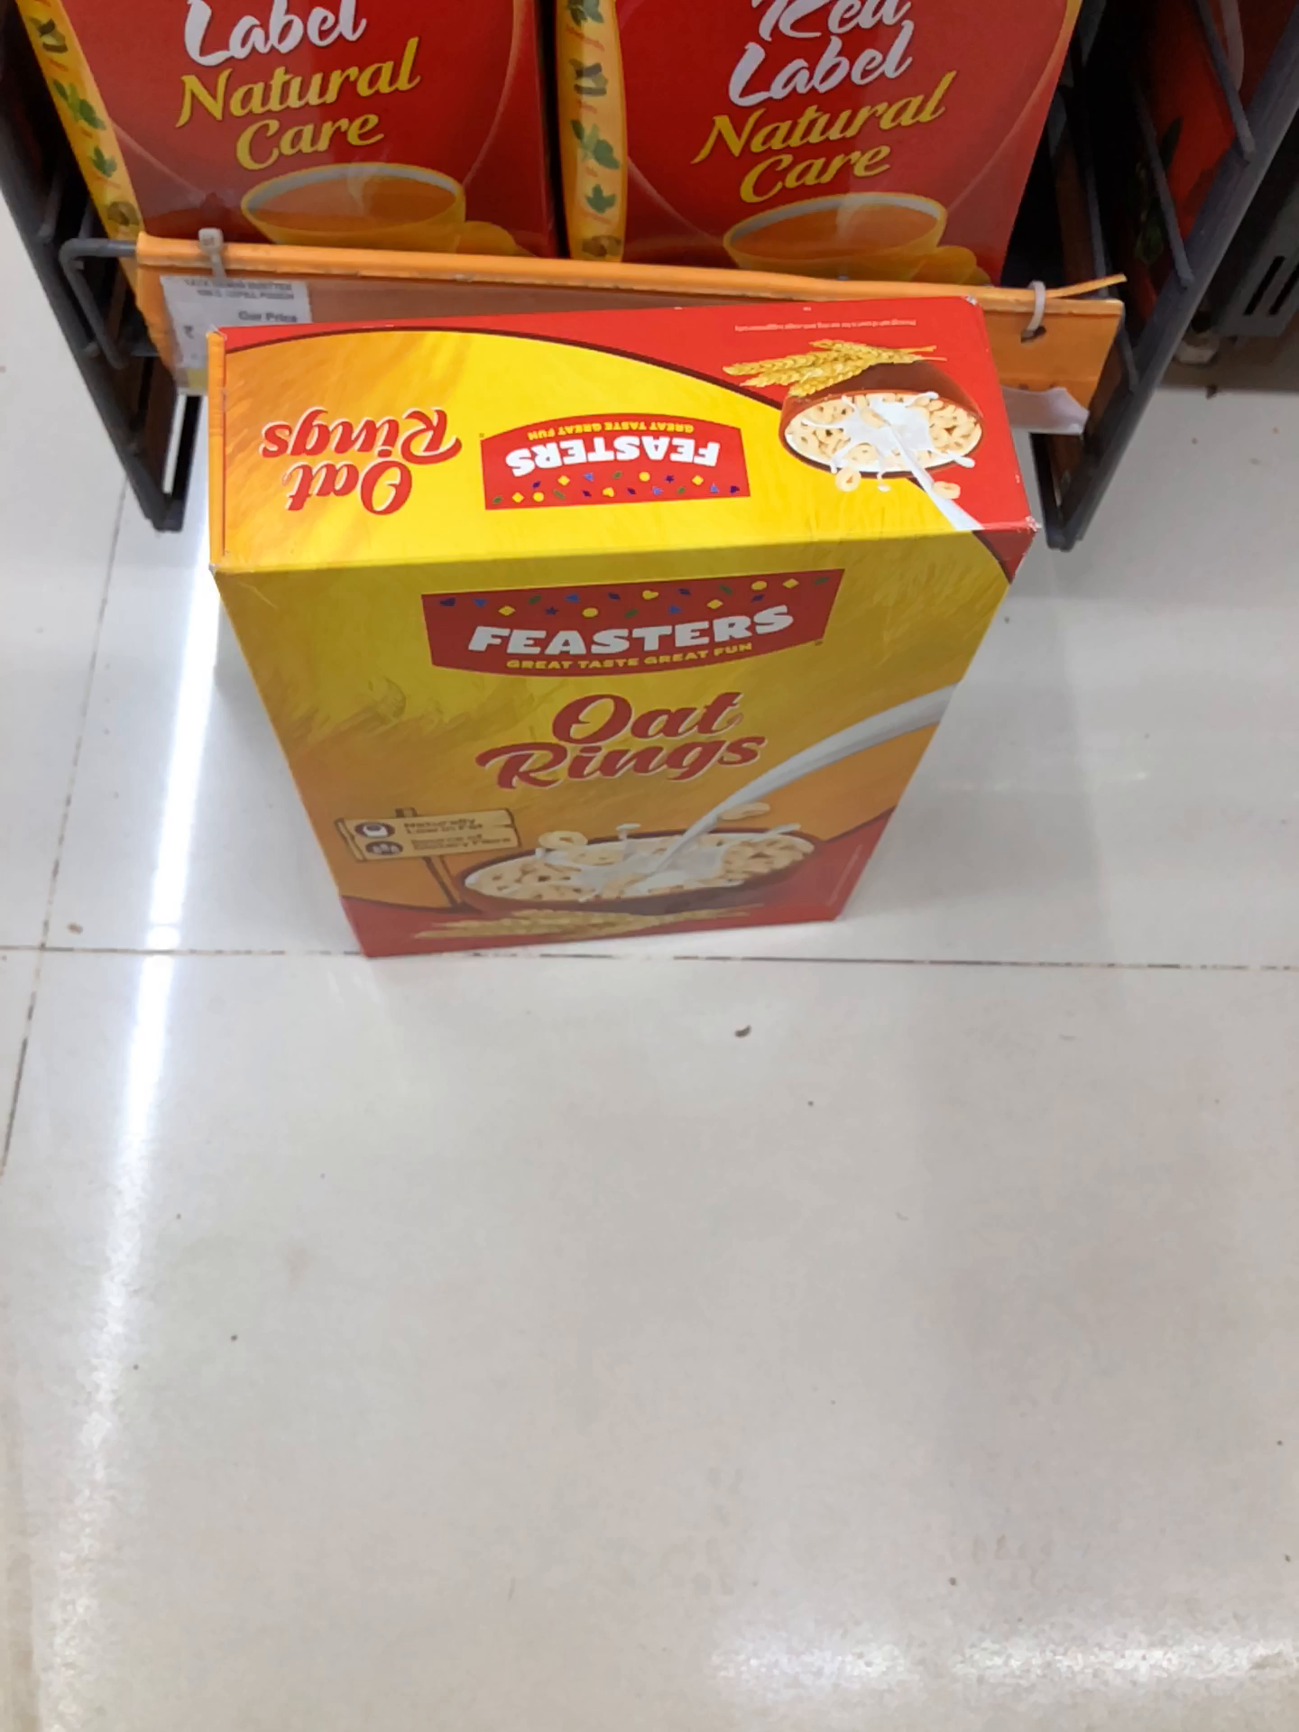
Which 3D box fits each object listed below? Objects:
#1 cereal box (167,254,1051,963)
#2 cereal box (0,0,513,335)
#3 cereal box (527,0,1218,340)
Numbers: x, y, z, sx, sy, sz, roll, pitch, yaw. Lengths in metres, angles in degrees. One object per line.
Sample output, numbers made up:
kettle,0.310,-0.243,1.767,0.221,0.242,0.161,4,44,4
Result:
cereal box,-0.016,-0.051,0.390,0.170,0.219,0.070,-4,67,-6
cereal box,-0.096,-0.226,0.357,0.120,0.169,0.080,-1,66,-4
cereal box,0.035,-0.213,0.342,0.120,0.149,0.080,-5,67,-6
